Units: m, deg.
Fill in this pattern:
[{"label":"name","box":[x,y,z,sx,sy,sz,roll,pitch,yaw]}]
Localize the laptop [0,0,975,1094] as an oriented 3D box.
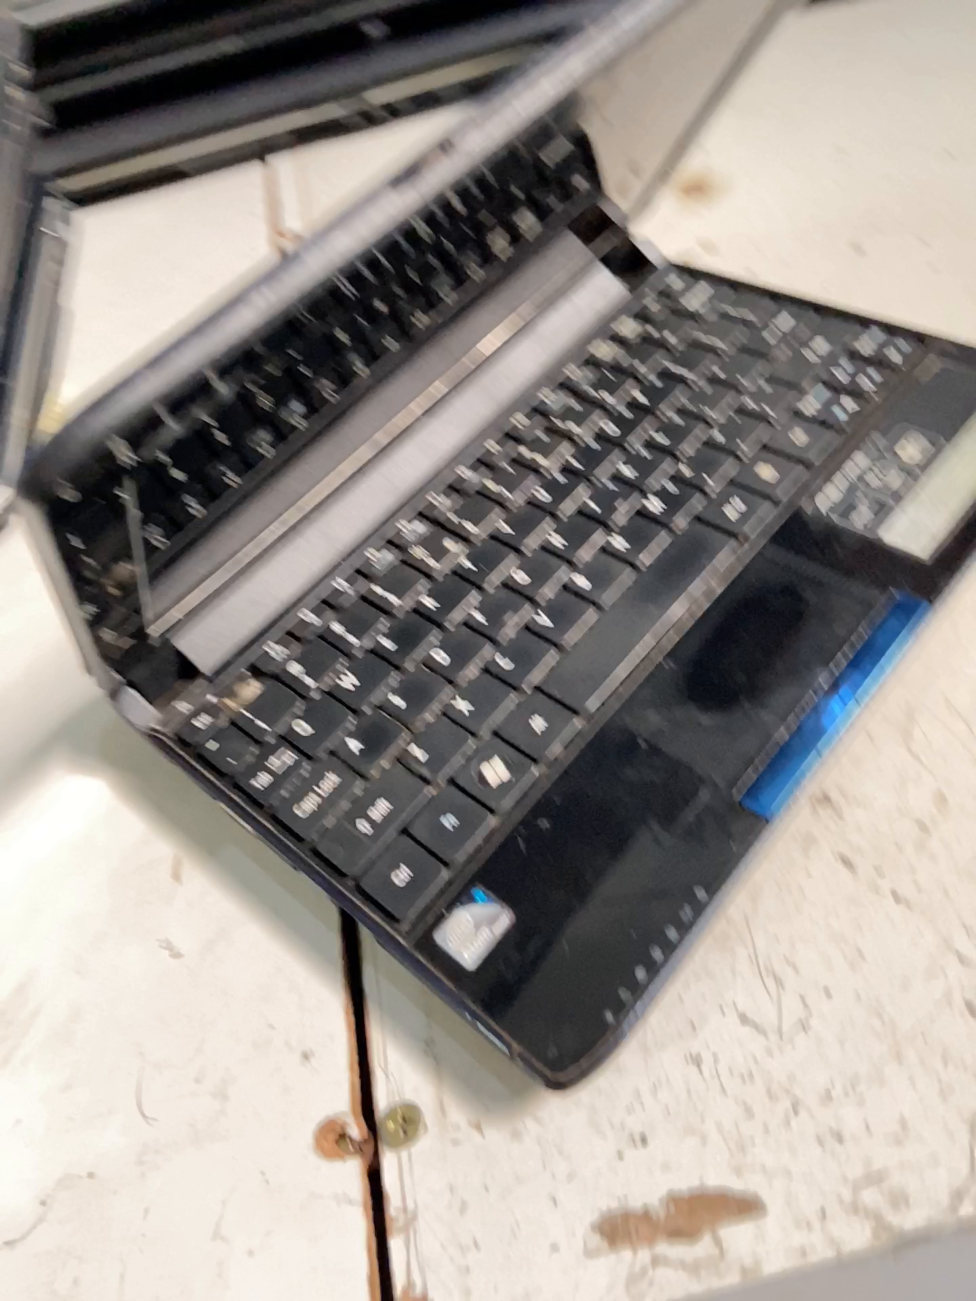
[{"label":"laptop","box":[0.018,-0.073,0.237,0.171,0.131,0.244,30,65,31]}]
